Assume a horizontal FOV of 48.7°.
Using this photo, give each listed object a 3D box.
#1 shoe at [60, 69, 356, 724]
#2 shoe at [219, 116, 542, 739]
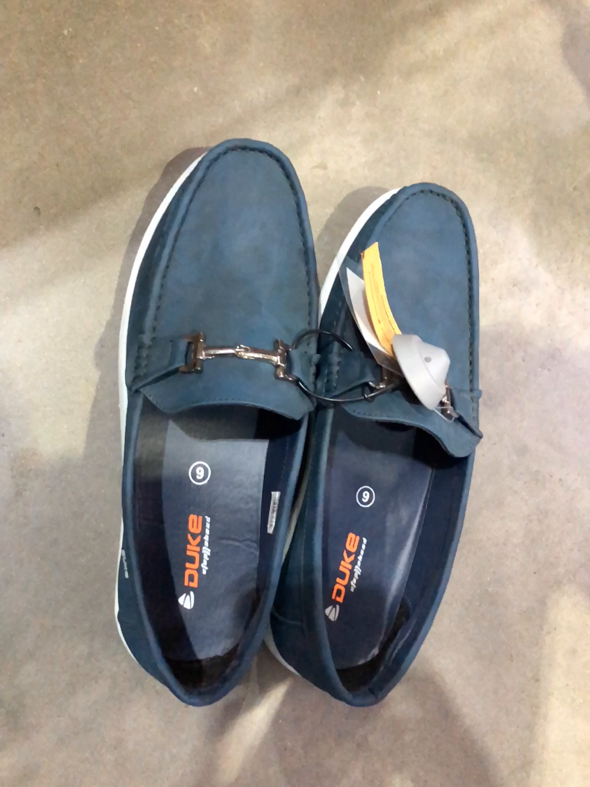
[{"bbox_3d":[-0.047,0.003,0.358,0.110,0.080,0.310,7,85,-14],"label":"shoe"},{"bbox_3d":[0.048,0.018,0.381,0.110,0.080,0.310,13,83,-14],"label":"shoe"}]
